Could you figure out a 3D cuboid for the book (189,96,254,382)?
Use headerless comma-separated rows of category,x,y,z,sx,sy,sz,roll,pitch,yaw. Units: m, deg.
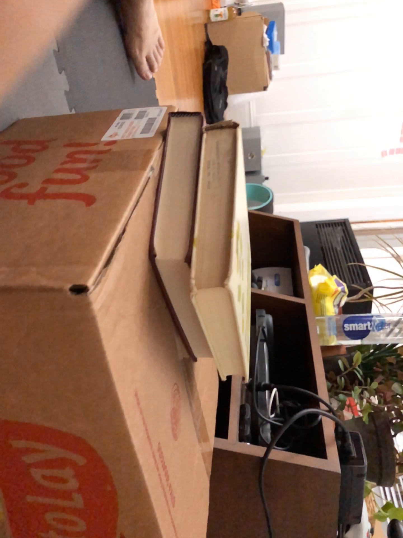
book,0.029,-0.009,0.452,0.250,0.040,0.180,77,14,-60

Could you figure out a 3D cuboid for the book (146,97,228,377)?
book,-0.001,-0.015,0.470,0.250,0.040,0.180,78,13,-57
